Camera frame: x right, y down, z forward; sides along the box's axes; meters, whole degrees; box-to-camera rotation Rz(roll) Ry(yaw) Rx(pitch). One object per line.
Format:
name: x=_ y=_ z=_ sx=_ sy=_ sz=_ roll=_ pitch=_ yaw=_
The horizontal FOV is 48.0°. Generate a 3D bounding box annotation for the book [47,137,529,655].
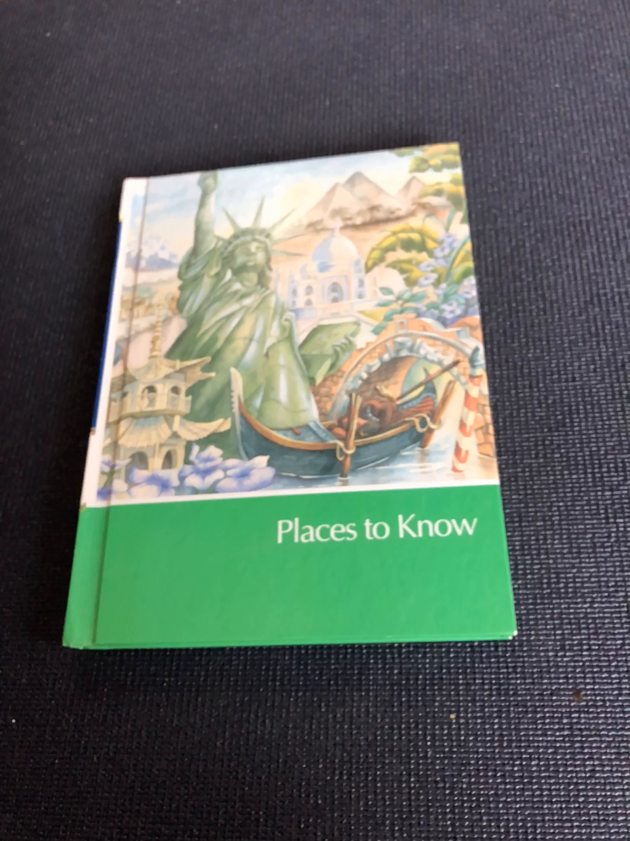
book: x=-0.013 y=-0.022 z=0.341 sx=0.190 sy=0.030 sz=0.250 roll=-4 pitch=65 yaw=7
